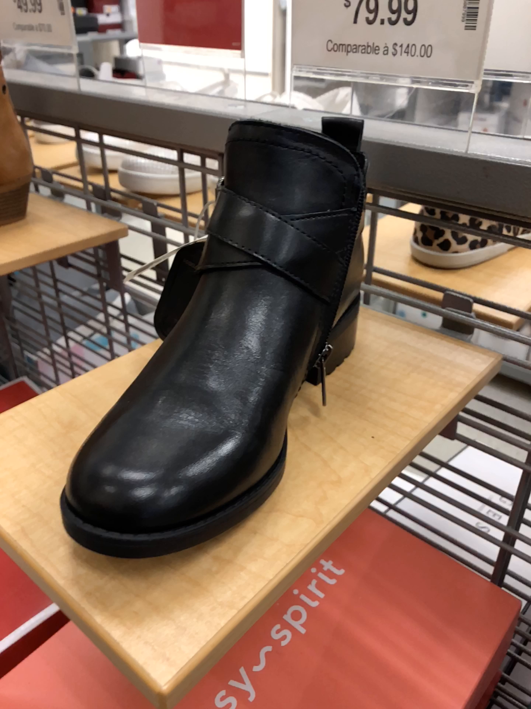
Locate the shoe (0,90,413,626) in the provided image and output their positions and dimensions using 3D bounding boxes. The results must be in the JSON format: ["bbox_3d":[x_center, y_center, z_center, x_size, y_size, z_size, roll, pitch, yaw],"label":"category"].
[{"bbox_3d":[-0.014,-0.029,0.265,0.090,0.133,0.221,14,34,22],"label":"shoe"}]
